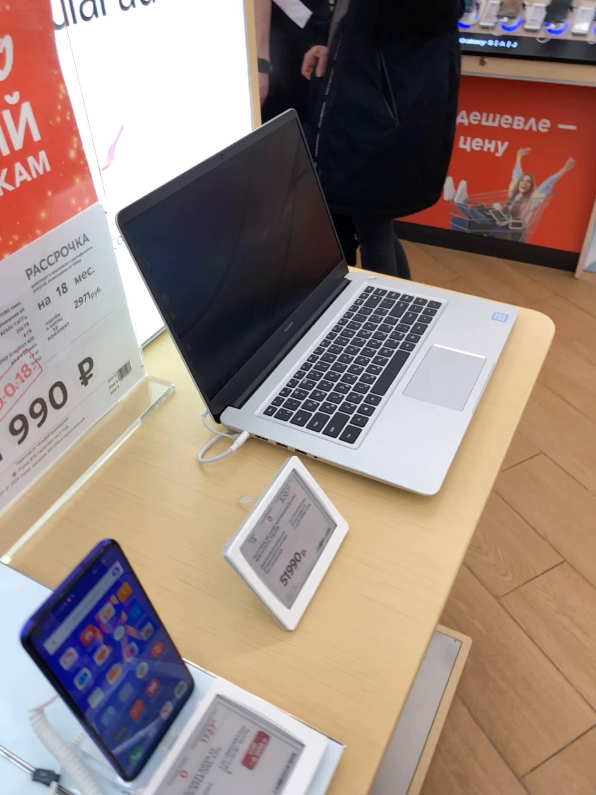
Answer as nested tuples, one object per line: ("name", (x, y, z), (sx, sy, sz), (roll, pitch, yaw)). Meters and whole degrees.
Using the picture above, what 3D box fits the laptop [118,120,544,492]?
("laptop", (0.057, -0.130, 0.700), (0.306, 0.204, 0.342), (16, 42, 21))
